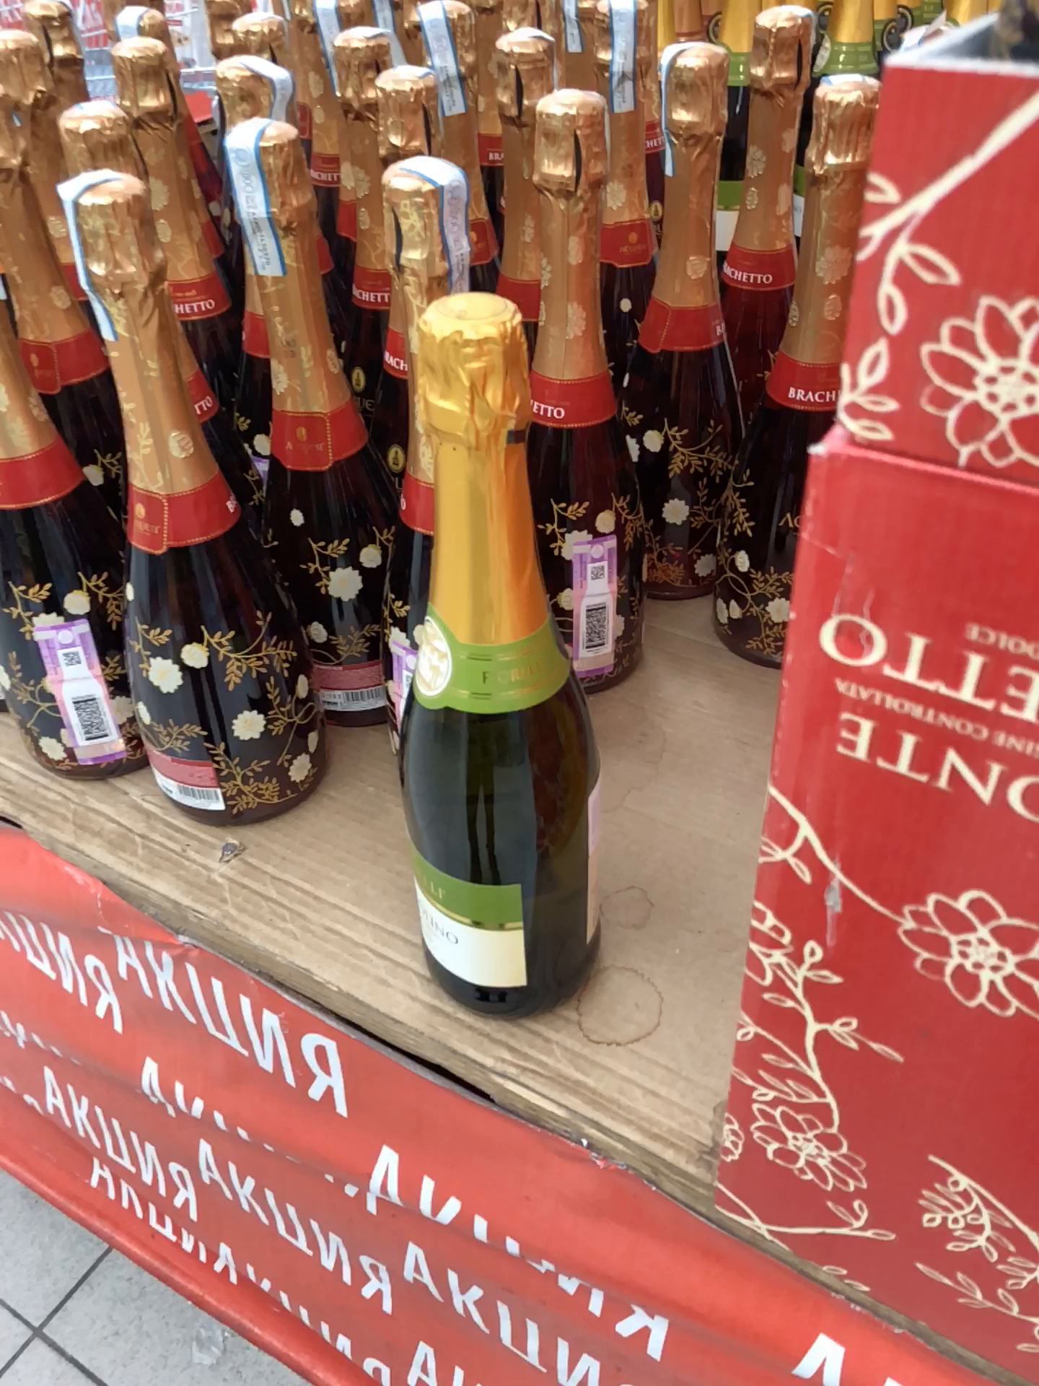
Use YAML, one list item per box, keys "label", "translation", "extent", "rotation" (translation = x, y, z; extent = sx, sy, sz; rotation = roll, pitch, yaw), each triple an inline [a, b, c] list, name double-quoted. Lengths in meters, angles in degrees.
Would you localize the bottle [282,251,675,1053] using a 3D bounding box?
- label: "bottle"
  translation: [-0.010, 0.000, 0.433]
  extent: [0.090, 0.288, 0.090]
  rotation: [-2, 39, 2]
